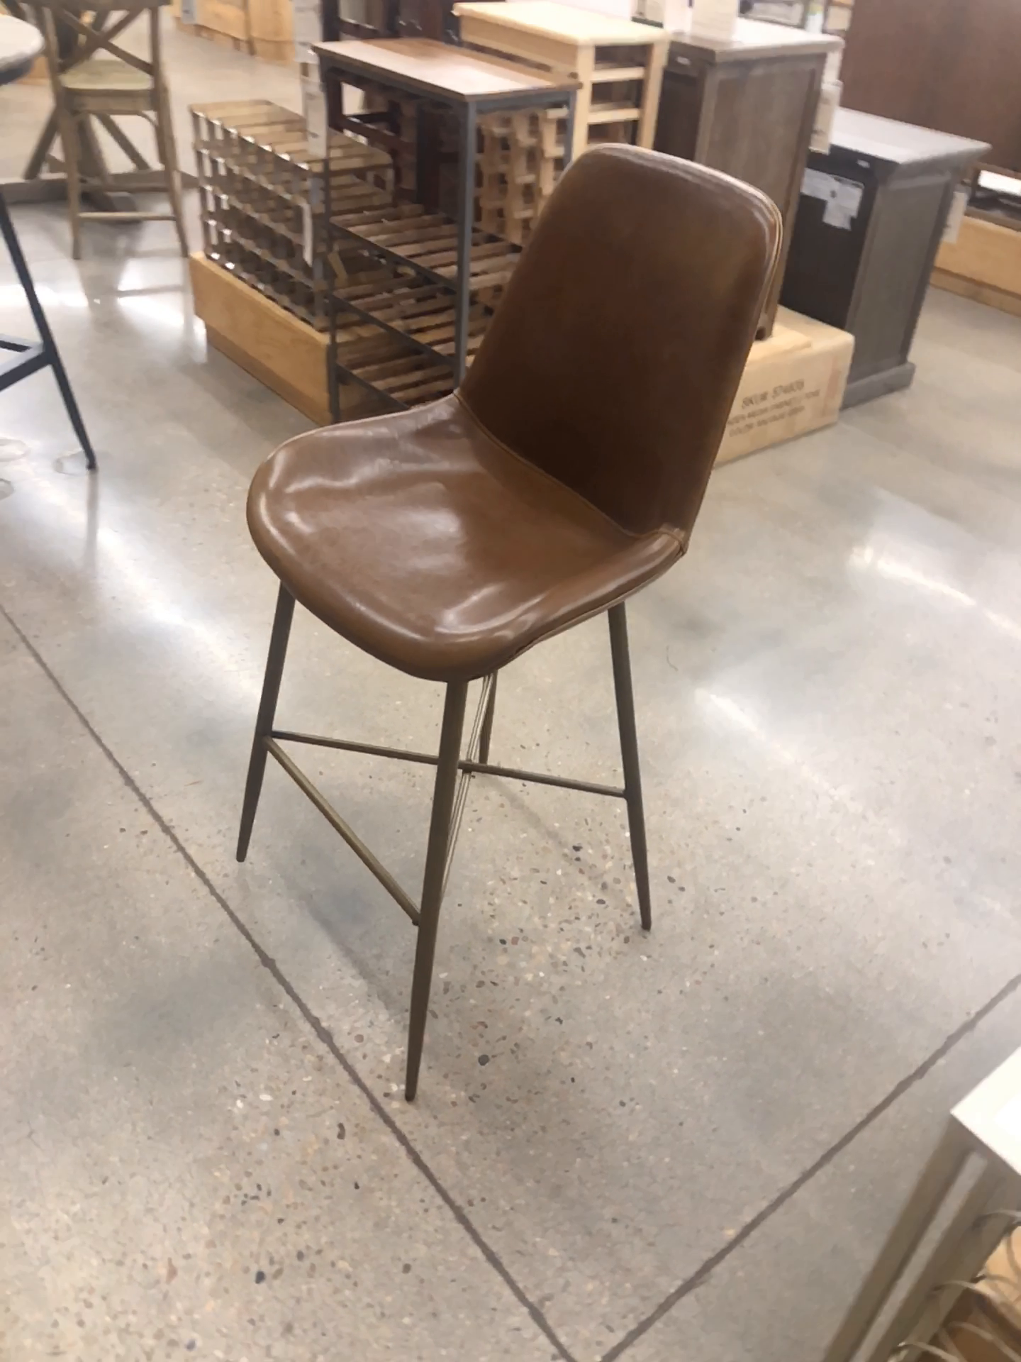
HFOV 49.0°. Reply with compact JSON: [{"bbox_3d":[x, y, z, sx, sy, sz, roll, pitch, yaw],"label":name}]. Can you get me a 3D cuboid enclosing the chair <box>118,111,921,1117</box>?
[{"bbox_3d":[-0.034,-0.101,1.499,0.612,1.055,0.604,-22,44,-30],"label":"chair"}]
